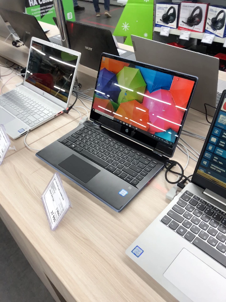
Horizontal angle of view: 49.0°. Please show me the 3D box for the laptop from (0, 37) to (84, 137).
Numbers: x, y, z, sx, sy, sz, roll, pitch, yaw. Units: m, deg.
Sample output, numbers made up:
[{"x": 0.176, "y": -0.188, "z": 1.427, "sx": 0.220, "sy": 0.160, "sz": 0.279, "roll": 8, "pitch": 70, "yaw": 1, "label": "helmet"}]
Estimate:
[{"x": -0.329, "y": -0.261, "z": 0.925, "sx": 0.293, "sy": 0.171, "sz": 0.324, "roll": 30, "pitch": 51, "yaw": 31, "label": "laptop"}]

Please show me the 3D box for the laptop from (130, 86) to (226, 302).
[{"x": 0.263, "y": 0.104, "z": 0.388, "sx": 0.352, "sy": 0.218, "sz": 0.330, "roll": 30, "pitch": 50, "yaw": 35, "label": "laptop"}]

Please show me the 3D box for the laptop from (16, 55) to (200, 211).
[{"x": -0.008, "y": -0.086, "z": 0.677, "sx": 0.327, "sy": 0.194, "sz": 0.327, "roll": 27, "pitch": 49, "yaw": 32, "label": "laptop"}]
